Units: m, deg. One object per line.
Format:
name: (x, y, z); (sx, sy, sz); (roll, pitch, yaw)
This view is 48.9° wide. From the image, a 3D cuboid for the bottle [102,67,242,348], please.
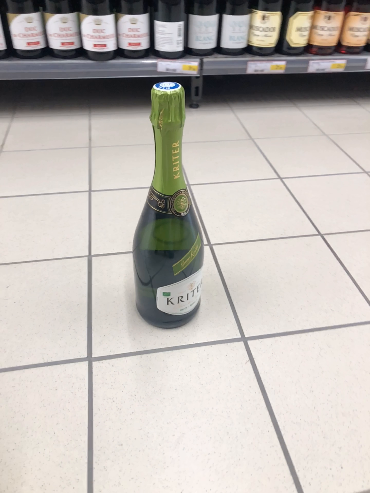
bottle: (-0.017, -0.032, 0.484); (0.100, 0.308, 0.090); (-29, 47, -34)
